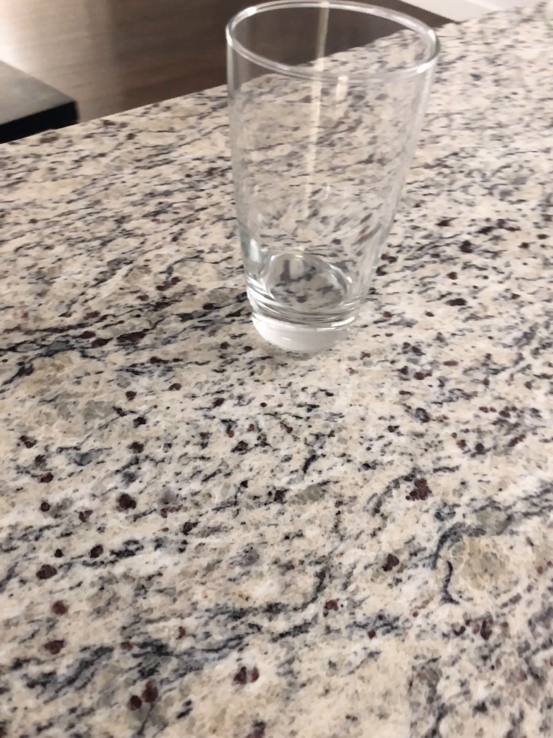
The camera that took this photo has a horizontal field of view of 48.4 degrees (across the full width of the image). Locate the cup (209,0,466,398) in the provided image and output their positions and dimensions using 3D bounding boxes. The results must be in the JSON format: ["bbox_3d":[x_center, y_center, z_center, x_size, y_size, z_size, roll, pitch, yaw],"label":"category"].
[{"bbox_3d":[0.025,-0.075,0.279,0.080,0.139,0.091,13,46,9],"label":"cup"}]
